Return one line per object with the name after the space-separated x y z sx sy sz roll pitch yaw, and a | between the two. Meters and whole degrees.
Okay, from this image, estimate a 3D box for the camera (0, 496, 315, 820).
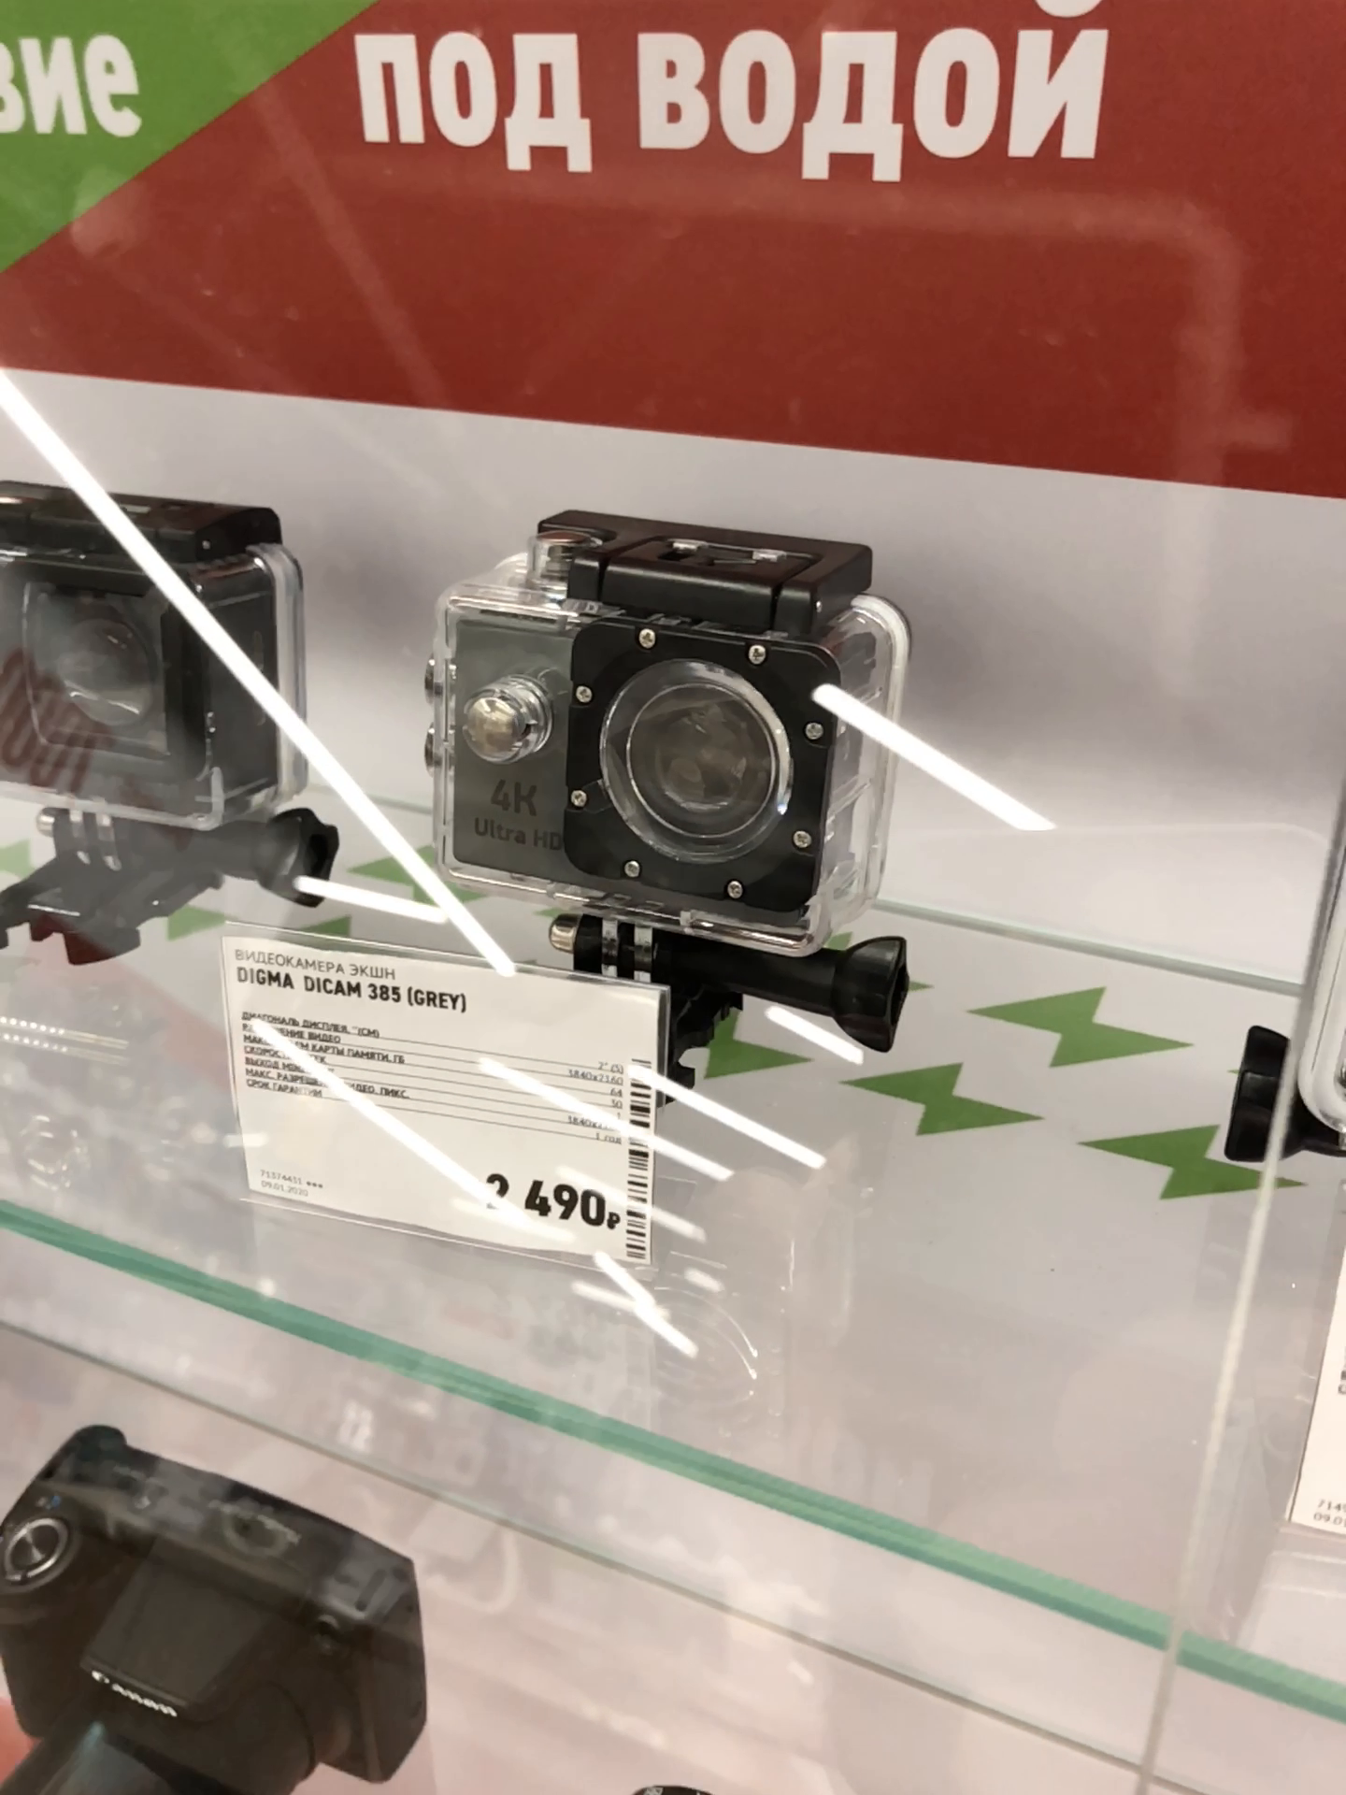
-0.107 -0.046 0.274 0.072 0.046 0.036 9 20 17 | camera

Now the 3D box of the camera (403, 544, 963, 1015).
0.002 -0.023 0.249 0.077 0.055 0.048 11 24 20 | camera
